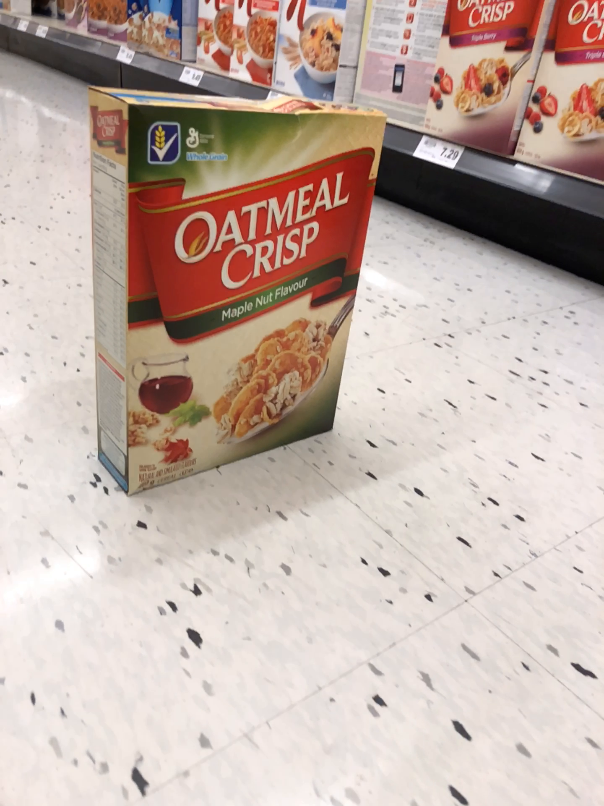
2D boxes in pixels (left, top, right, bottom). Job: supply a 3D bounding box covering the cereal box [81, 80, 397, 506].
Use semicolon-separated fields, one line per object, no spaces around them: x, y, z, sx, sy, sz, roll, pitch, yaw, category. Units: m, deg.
-0.046;-0.075;0.469;0.201;0.258;0.050;-16;37;-37;cereal box
